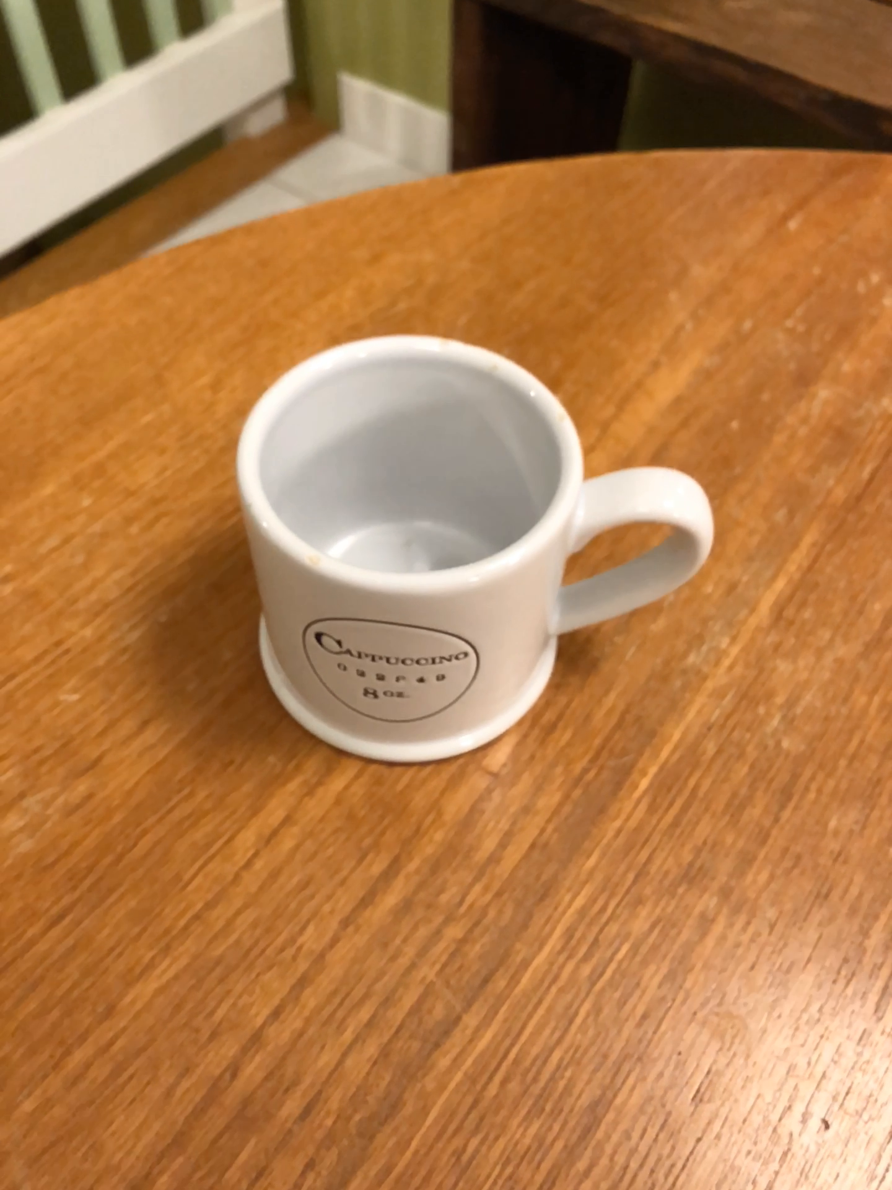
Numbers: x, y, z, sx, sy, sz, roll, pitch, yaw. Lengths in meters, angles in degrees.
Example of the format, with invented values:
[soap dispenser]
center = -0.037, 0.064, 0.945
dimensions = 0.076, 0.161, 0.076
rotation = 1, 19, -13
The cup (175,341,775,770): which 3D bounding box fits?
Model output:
[cup]
center = 0.005, -0.010, 0.285
dimensions = 0.135, 0.082, 0.090
rotation = 0, 54, -2
